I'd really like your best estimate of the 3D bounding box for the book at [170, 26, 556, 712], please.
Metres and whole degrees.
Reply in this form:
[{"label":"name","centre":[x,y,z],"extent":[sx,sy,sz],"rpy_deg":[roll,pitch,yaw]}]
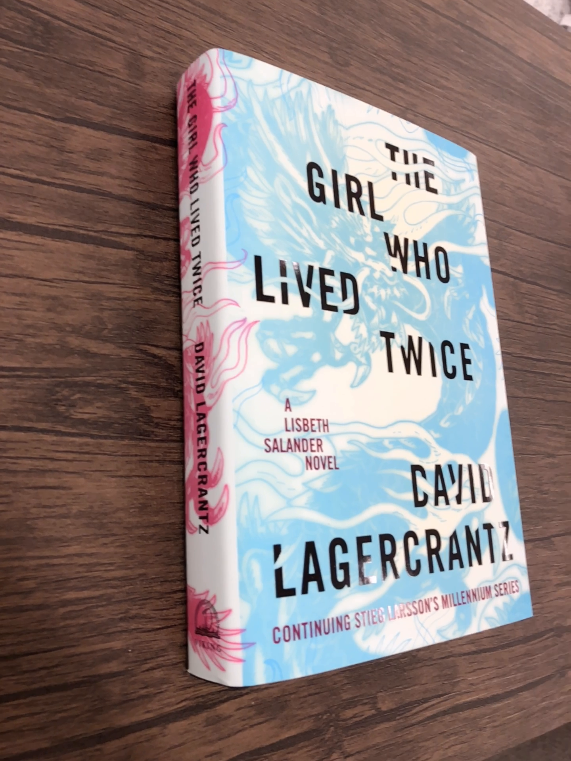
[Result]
[{"label":"book","centre":[0.038,-0.007,0.282],"extent":[0.171,0.040,0.240],"rpy_deg":[5,77,-35]}]
